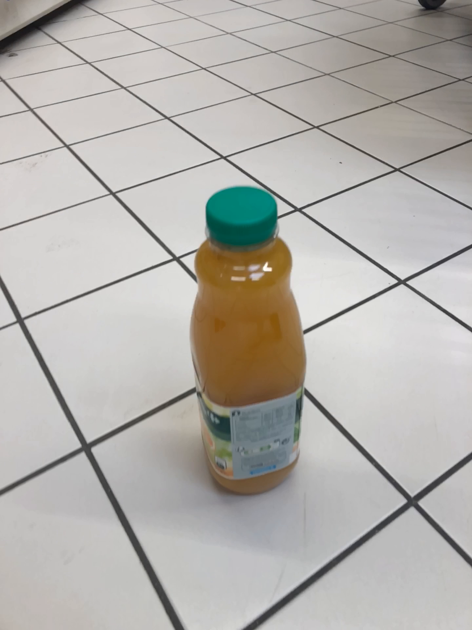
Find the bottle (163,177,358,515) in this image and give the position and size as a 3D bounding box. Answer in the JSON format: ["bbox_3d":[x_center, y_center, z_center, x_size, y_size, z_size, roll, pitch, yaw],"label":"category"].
[{"bbox_3d":[0.013,0.036,0.369,0.090,0.238,0.080,-11,43,-10],"label":"bottle"}]
